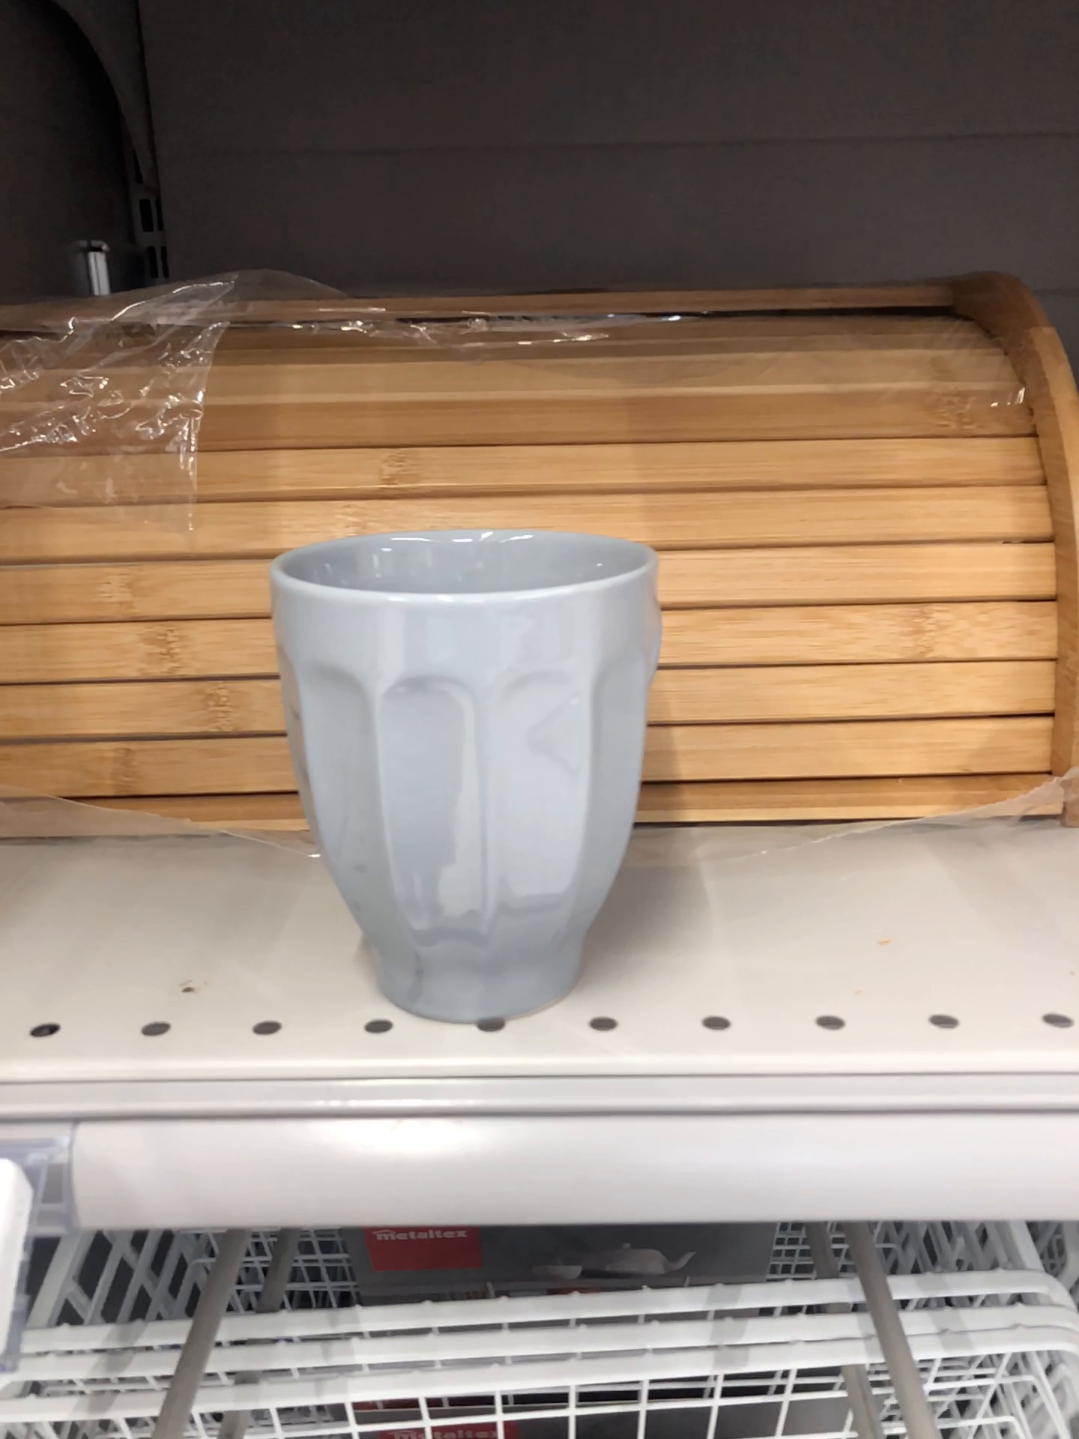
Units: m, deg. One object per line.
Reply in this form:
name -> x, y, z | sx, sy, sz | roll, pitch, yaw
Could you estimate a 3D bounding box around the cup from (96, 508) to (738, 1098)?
cup -> -0.021, 0.006, 0.285 | 0.092, 0.091, 0.117 | 11, 22, 33
